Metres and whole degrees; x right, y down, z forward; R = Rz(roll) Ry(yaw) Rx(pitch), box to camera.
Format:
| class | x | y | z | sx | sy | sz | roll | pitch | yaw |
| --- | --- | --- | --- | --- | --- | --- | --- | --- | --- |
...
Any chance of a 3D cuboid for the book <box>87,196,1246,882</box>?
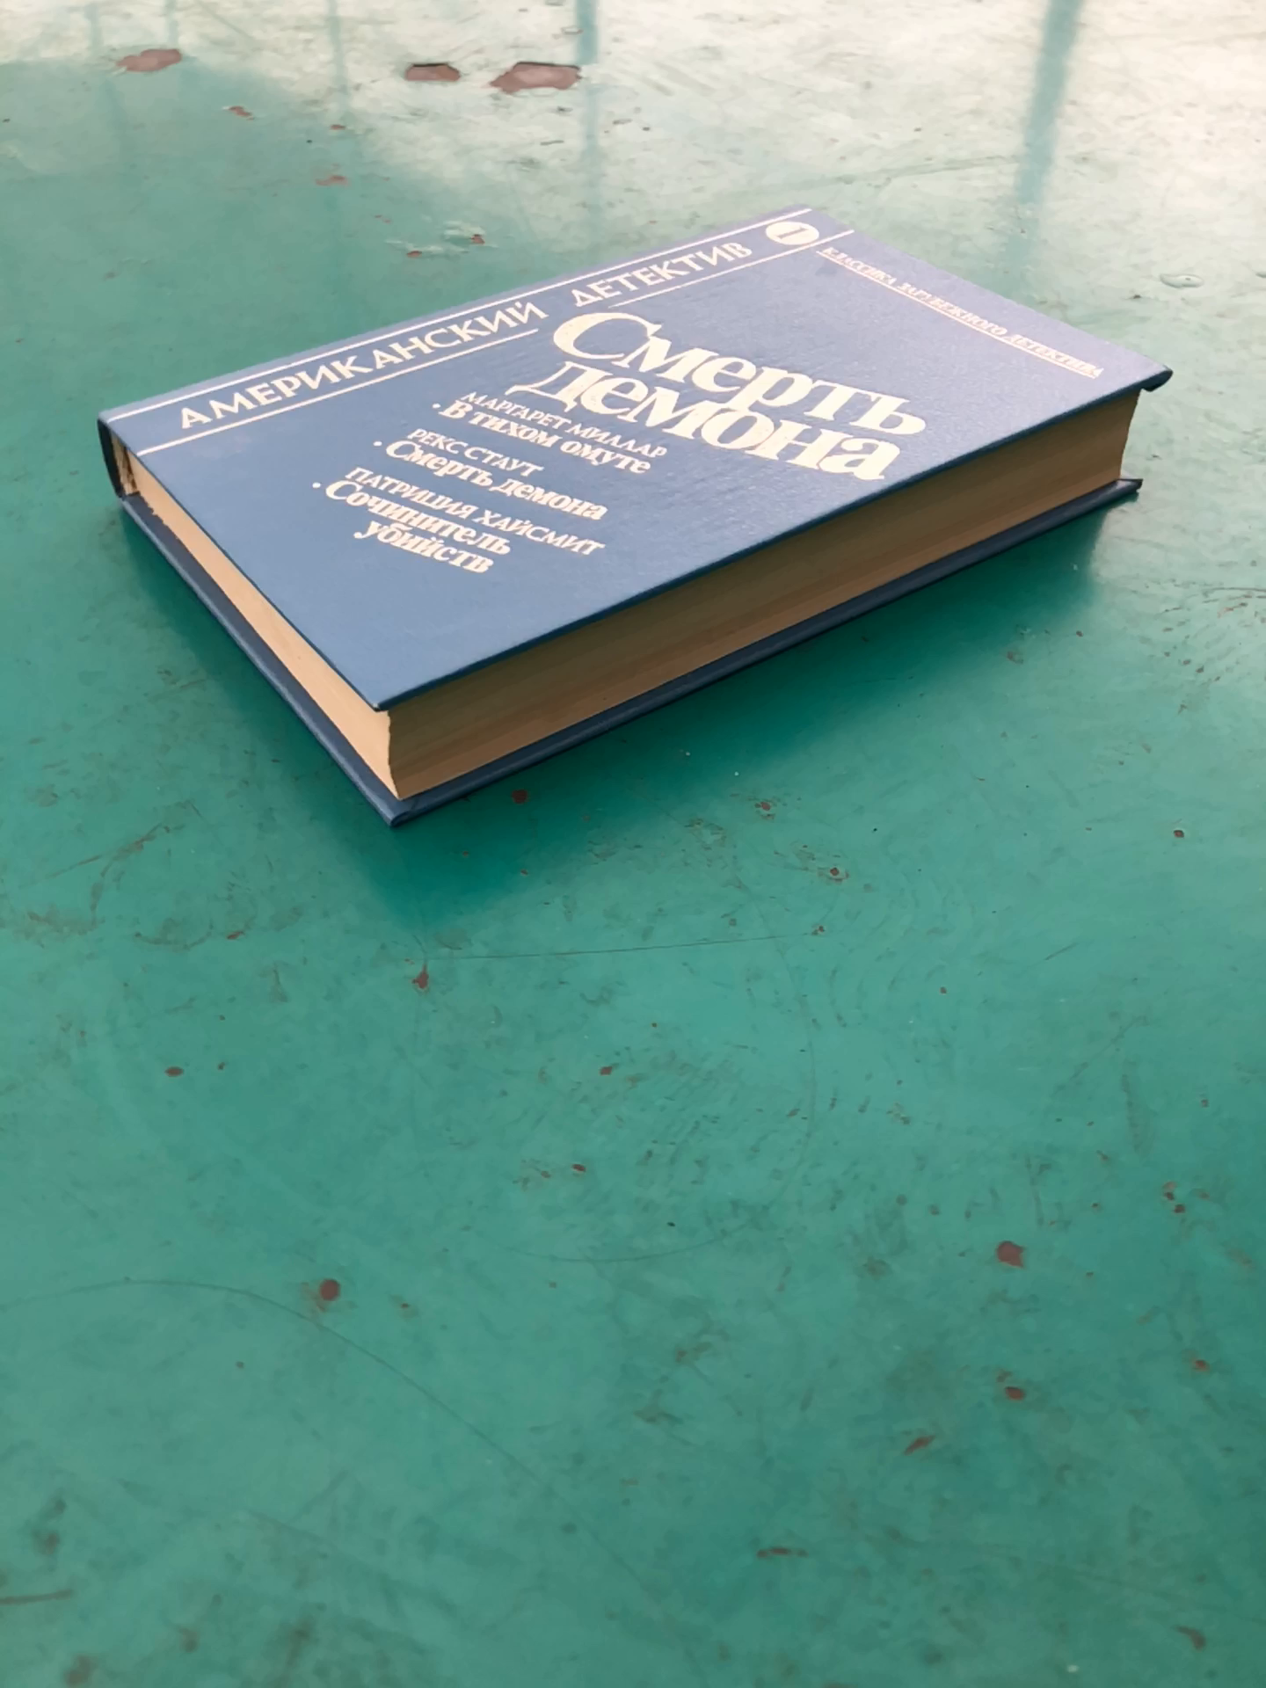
| class | x | y | z | sx | sy | sz | roll | pitch | yaw |
| --- | --- | --- | --- | --- | --- | --- | --- | --- | --- |
| book | 0.008 | -0.088 | 0.321 | 0.212 | 0.034 | 0.142 | -26 | 49 | -25 |
